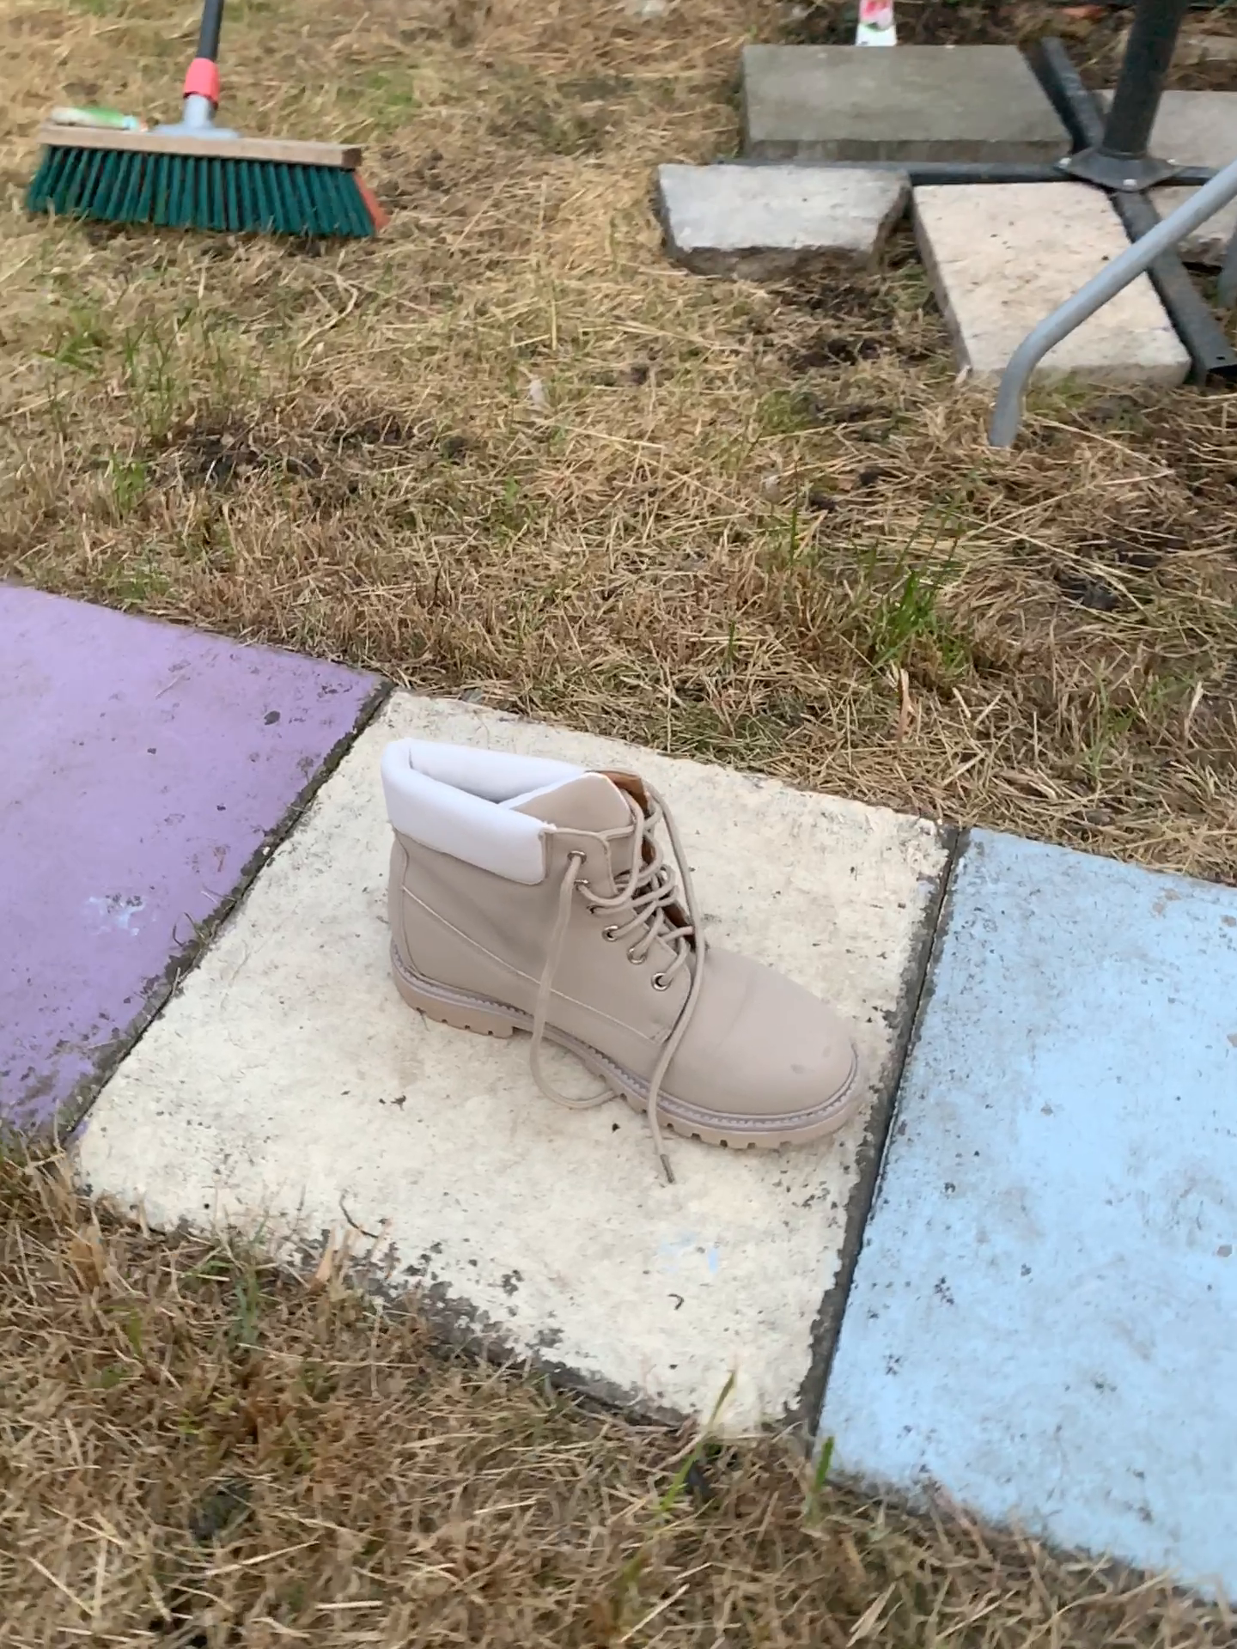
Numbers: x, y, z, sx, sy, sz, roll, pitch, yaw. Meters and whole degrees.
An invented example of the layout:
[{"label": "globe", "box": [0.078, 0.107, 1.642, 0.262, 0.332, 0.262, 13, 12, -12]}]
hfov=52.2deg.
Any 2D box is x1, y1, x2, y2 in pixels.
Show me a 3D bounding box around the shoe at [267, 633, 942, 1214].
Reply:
[{"label": "shoe", "box": [-0.007, 0.047, 0.623, 0.281, 0.198, 0.101, 18, 49, 19]}]
